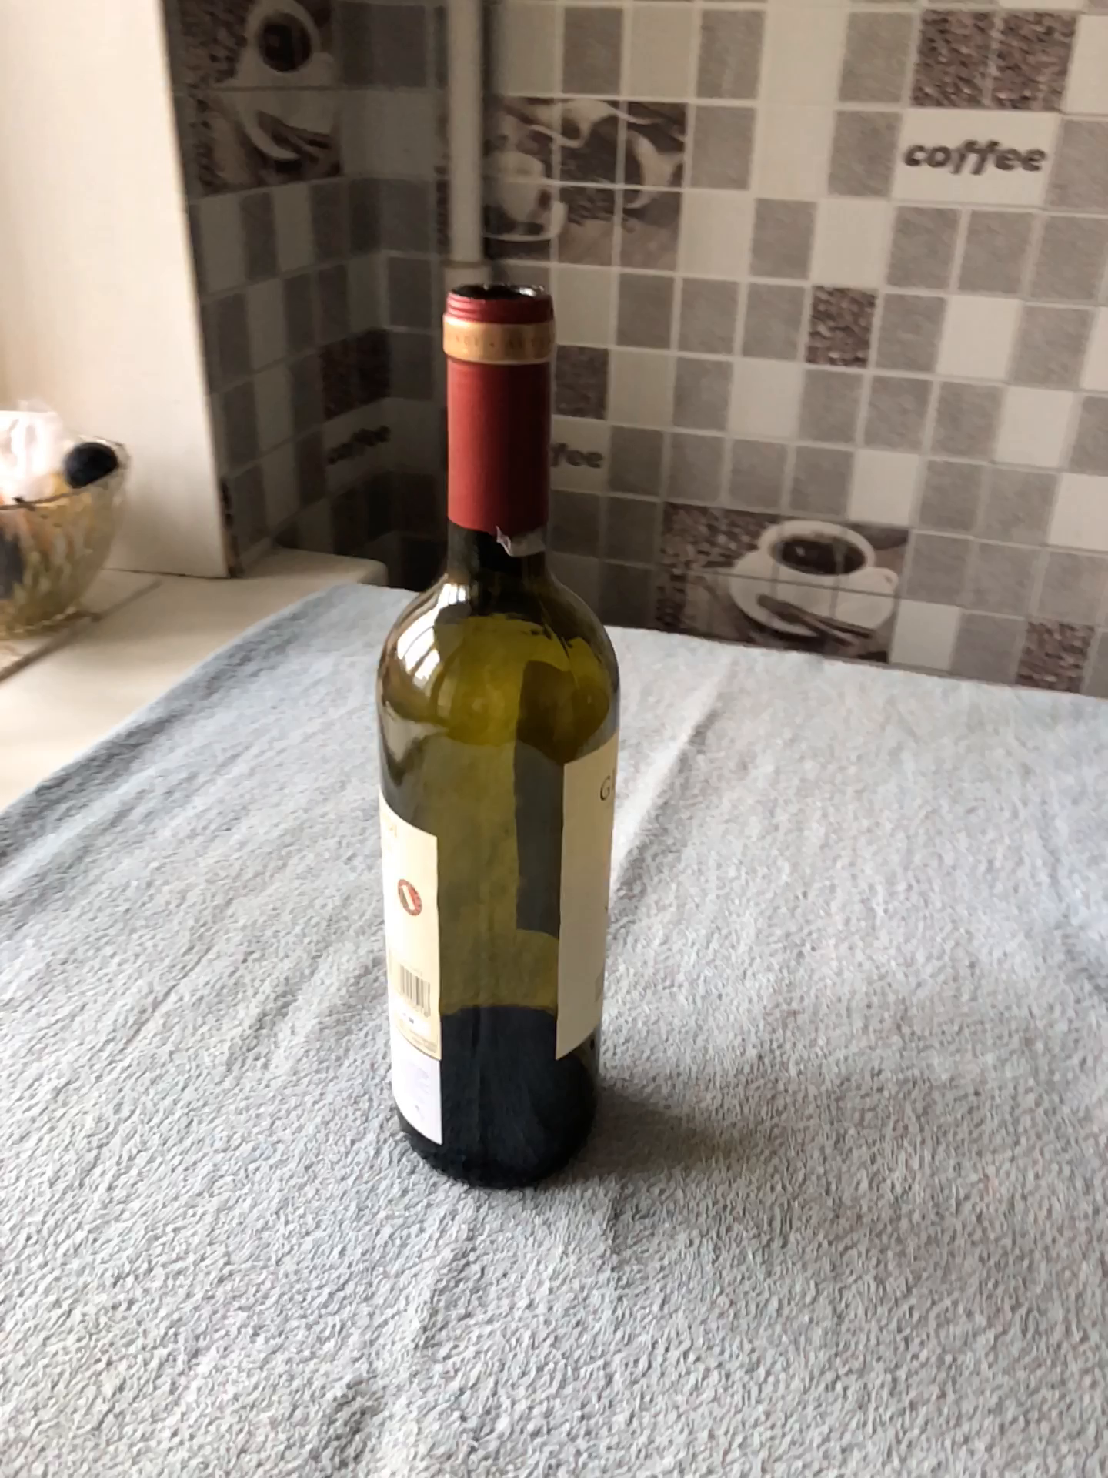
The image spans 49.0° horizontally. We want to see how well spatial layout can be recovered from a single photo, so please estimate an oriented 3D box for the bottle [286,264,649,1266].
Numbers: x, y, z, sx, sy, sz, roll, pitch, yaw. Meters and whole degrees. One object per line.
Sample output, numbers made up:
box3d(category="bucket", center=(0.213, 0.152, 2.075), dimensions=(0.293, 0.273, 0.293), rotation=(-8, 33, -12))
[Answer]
box3d(category="bottle", center=(-0.028, 0.019, 0.373), dimensions=(0.080, 0.299, 0.080), rotation=(1, 28, -1))
